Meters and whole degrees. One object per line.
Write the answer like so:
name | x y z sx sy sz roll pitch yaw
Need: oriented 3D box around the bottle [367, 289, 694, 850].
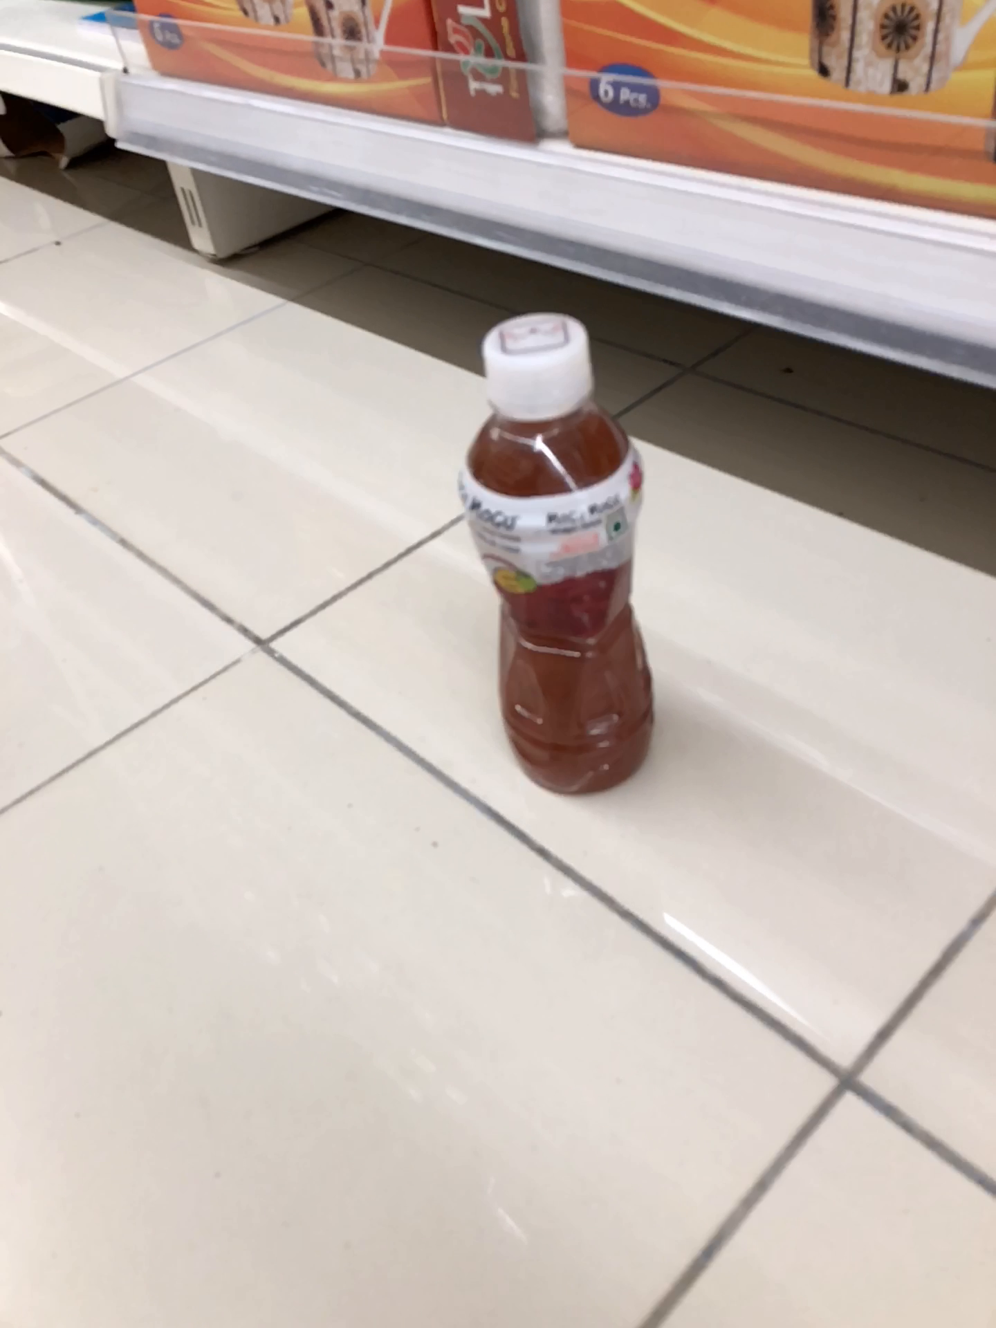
bottle | 0.016 -0.026 0.359 0.070 0.159 0.070 -6 41 5
